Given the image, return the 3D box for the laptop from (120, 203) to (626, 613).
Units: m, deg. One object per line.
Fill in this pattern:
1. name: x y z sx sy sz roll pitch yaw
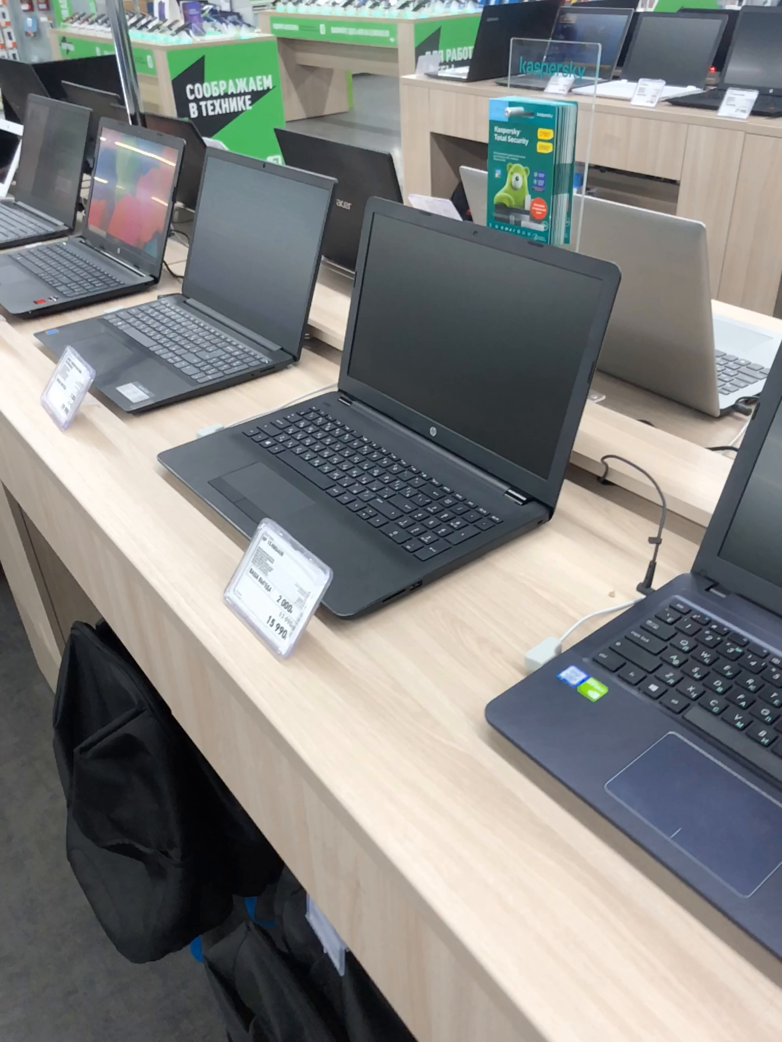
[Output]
1. laptop: -0.027 -0.147 0.851 0.312 0.216 0.368 -25 38 -29

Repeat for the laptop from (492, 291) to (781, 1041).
1. laptop: 0.306 0.057 0.505 0.334 0.209 0.370 -27 40 -30

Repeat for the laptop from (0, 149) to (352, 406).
1. laptop: -0.297 -0.360 1.203 0.327 0.213 0.332 -25 39 -29
